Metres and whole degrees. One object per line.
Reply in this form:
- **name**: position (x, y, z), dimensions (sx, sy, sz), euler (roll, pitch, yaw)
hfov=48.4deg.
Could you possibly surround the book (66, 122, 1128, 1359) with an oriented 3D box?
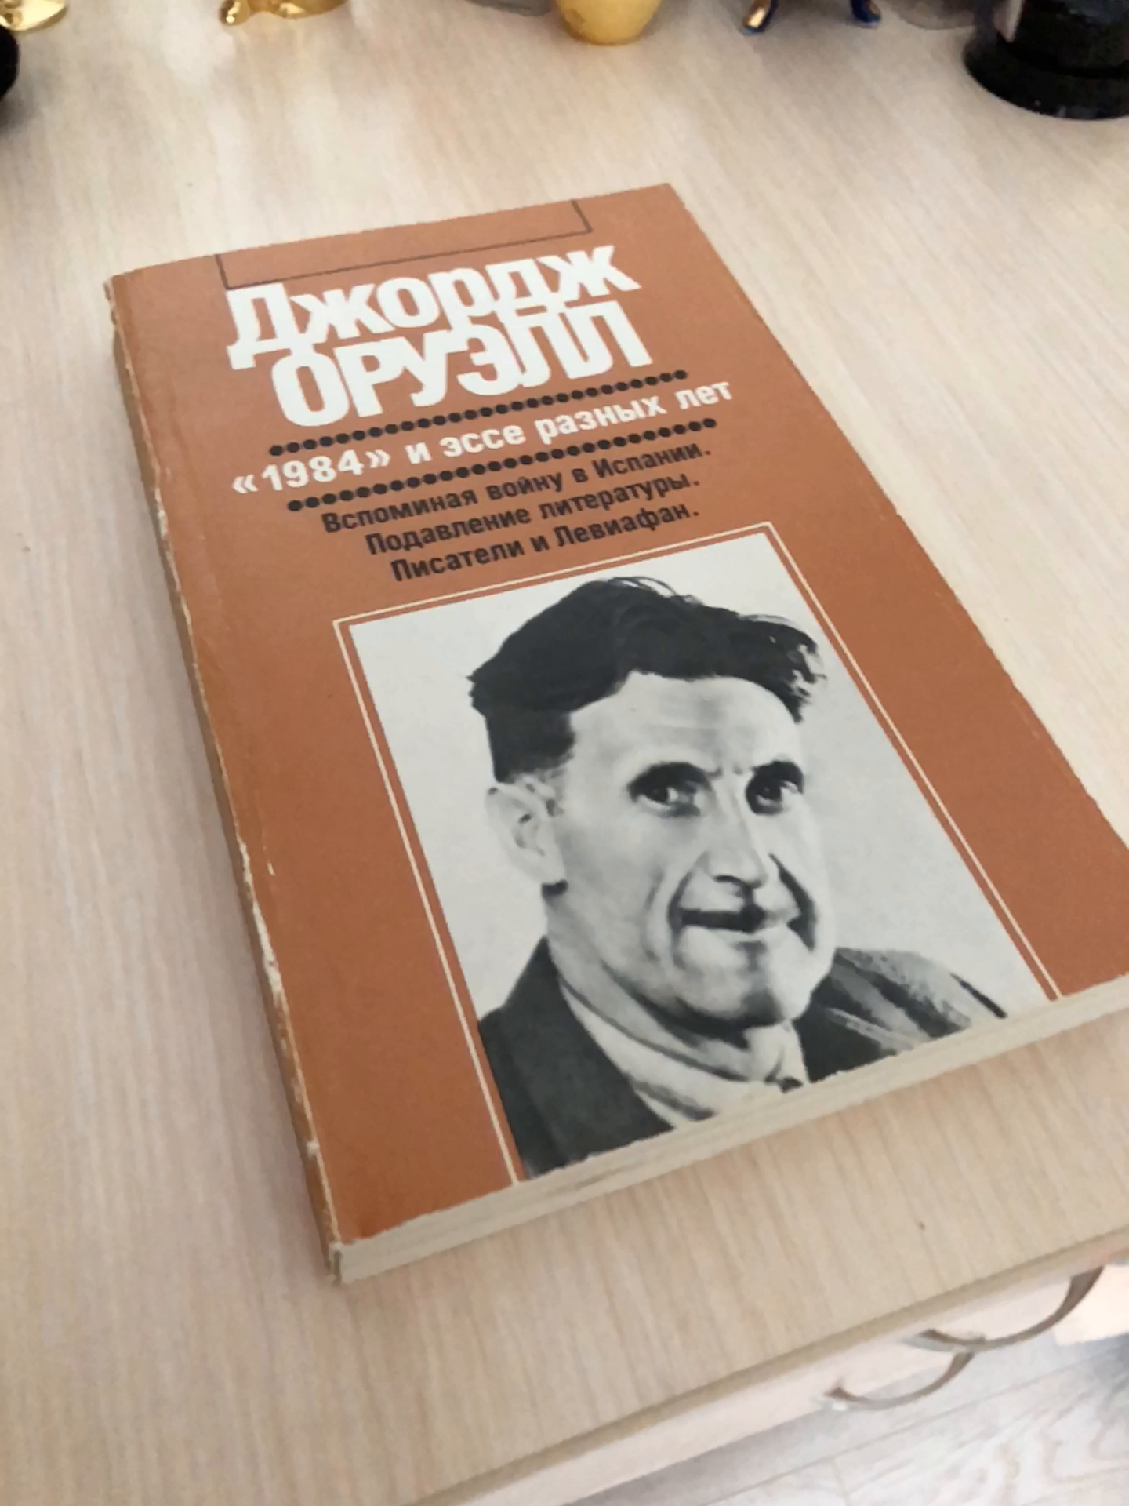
- **book**: position (-0.002, -0.030, 0.222), dimensions (0.130, 0.040, 0.211), euler (-15, 56, -13)
